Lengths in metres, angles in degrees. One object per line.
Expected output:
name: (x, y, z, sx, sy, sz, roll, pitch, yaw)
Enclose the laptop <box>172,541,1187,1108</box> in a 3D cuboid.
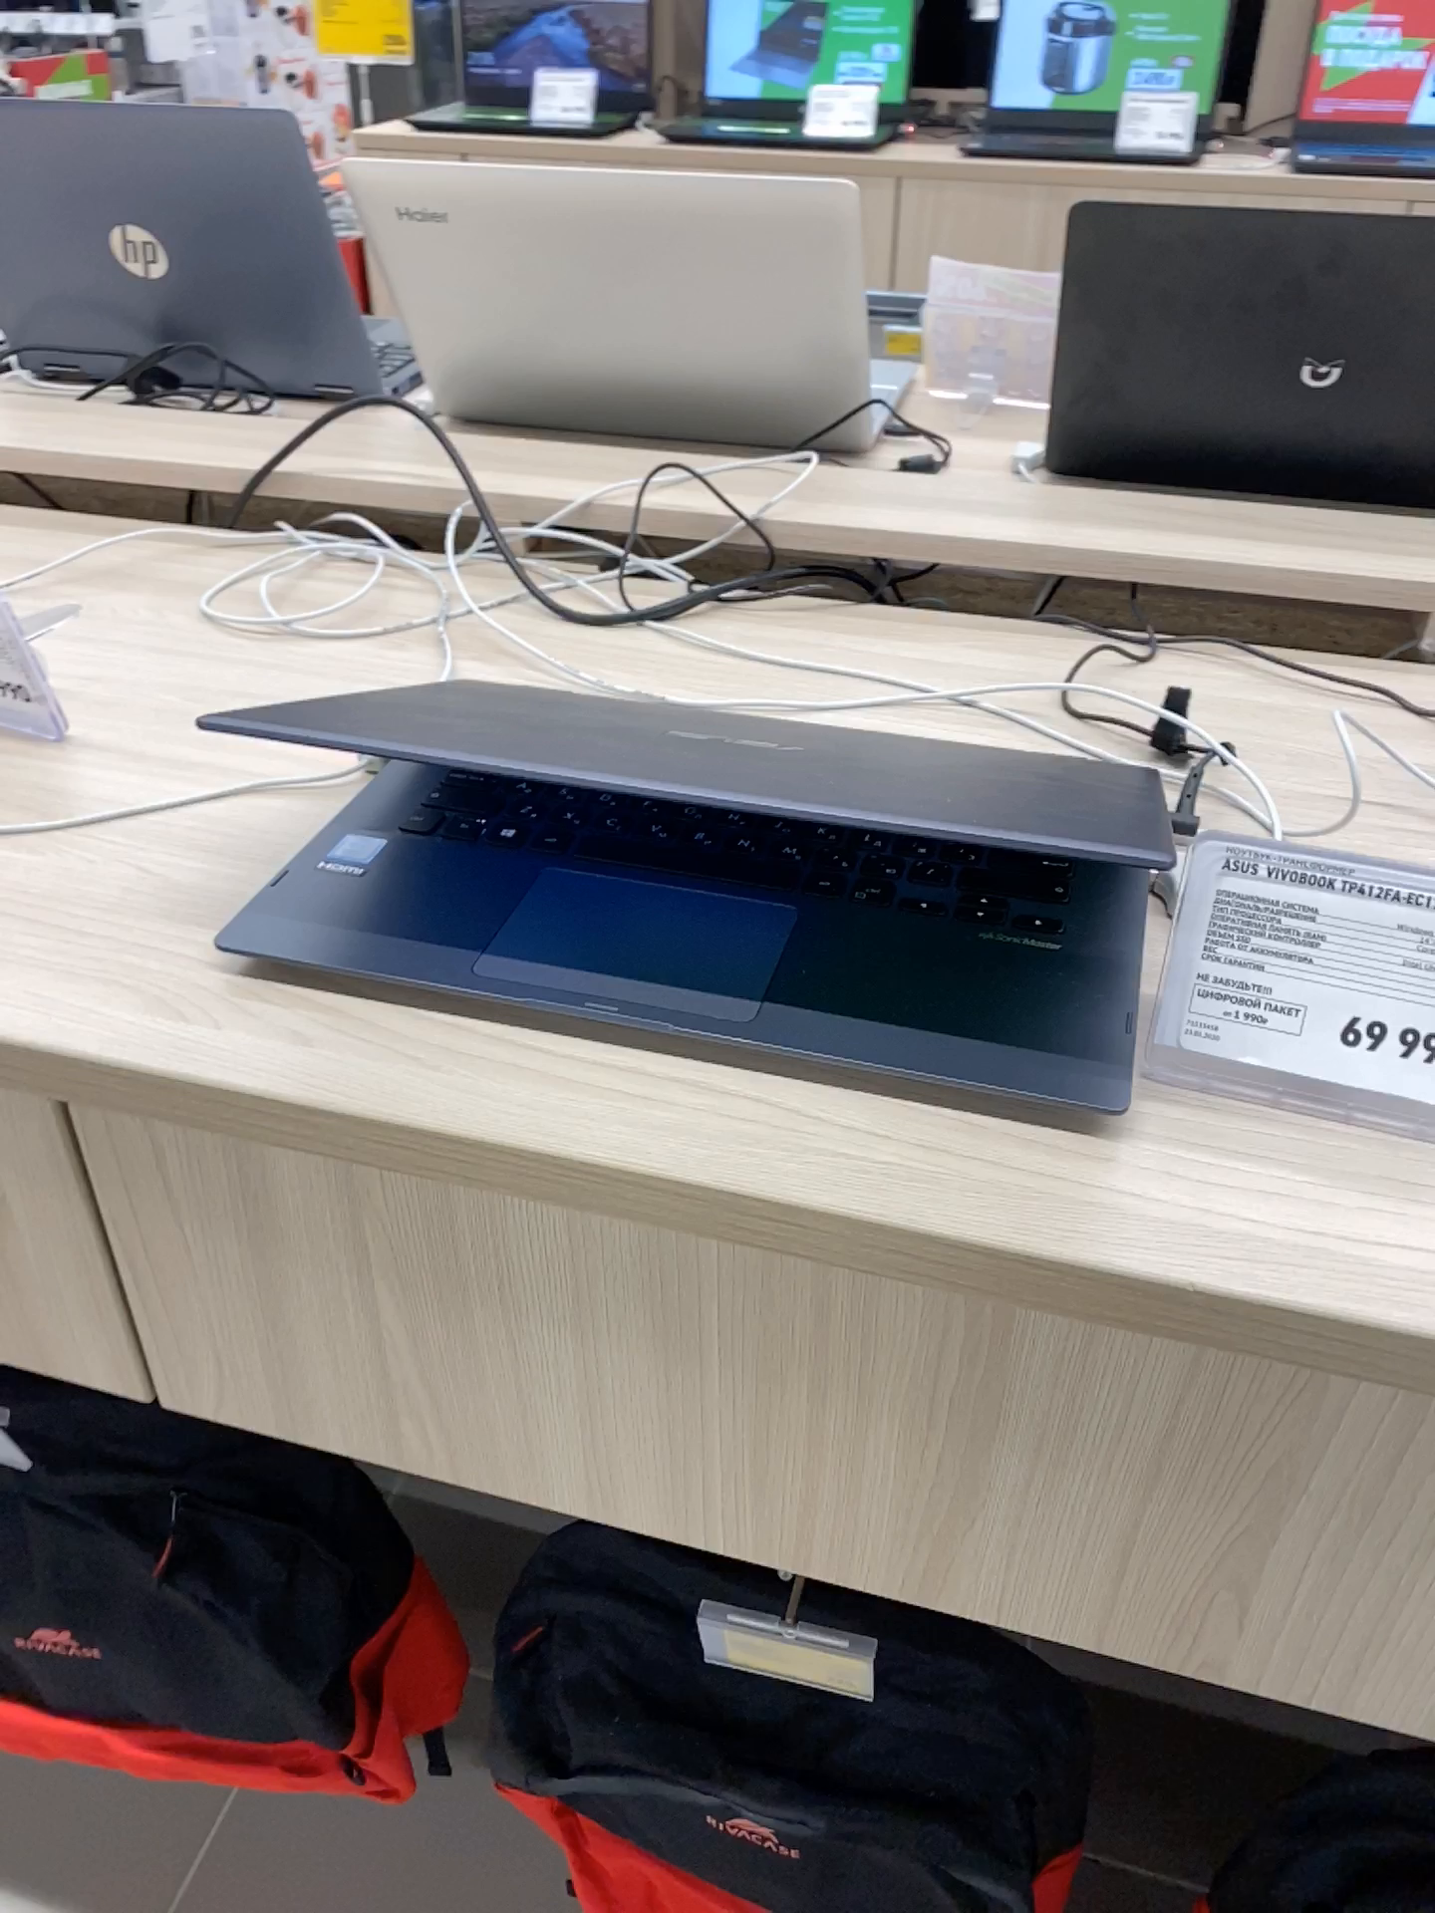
laptop: (0.004, -0.071, 0.572, 0.330, 0.079, 0.226, 9, 35, 12)
